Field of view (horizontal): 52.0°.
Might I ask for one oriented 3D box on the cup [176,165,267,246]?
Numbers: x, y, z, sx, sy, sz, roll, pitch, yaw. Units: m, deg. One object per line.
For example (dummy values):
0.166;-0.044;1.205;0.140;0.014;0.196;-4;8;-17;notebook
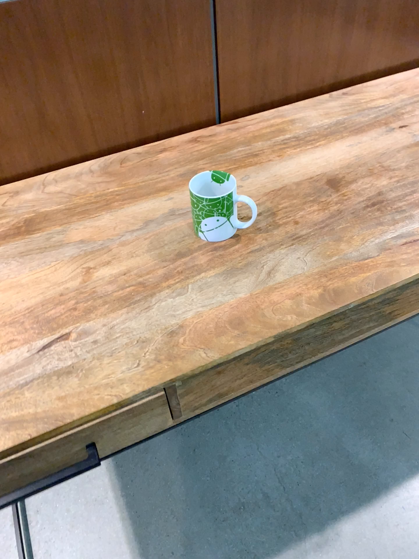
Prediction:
0.023;-0.126;0.718;0.120;0.070;0.100;14;48;18;cup
